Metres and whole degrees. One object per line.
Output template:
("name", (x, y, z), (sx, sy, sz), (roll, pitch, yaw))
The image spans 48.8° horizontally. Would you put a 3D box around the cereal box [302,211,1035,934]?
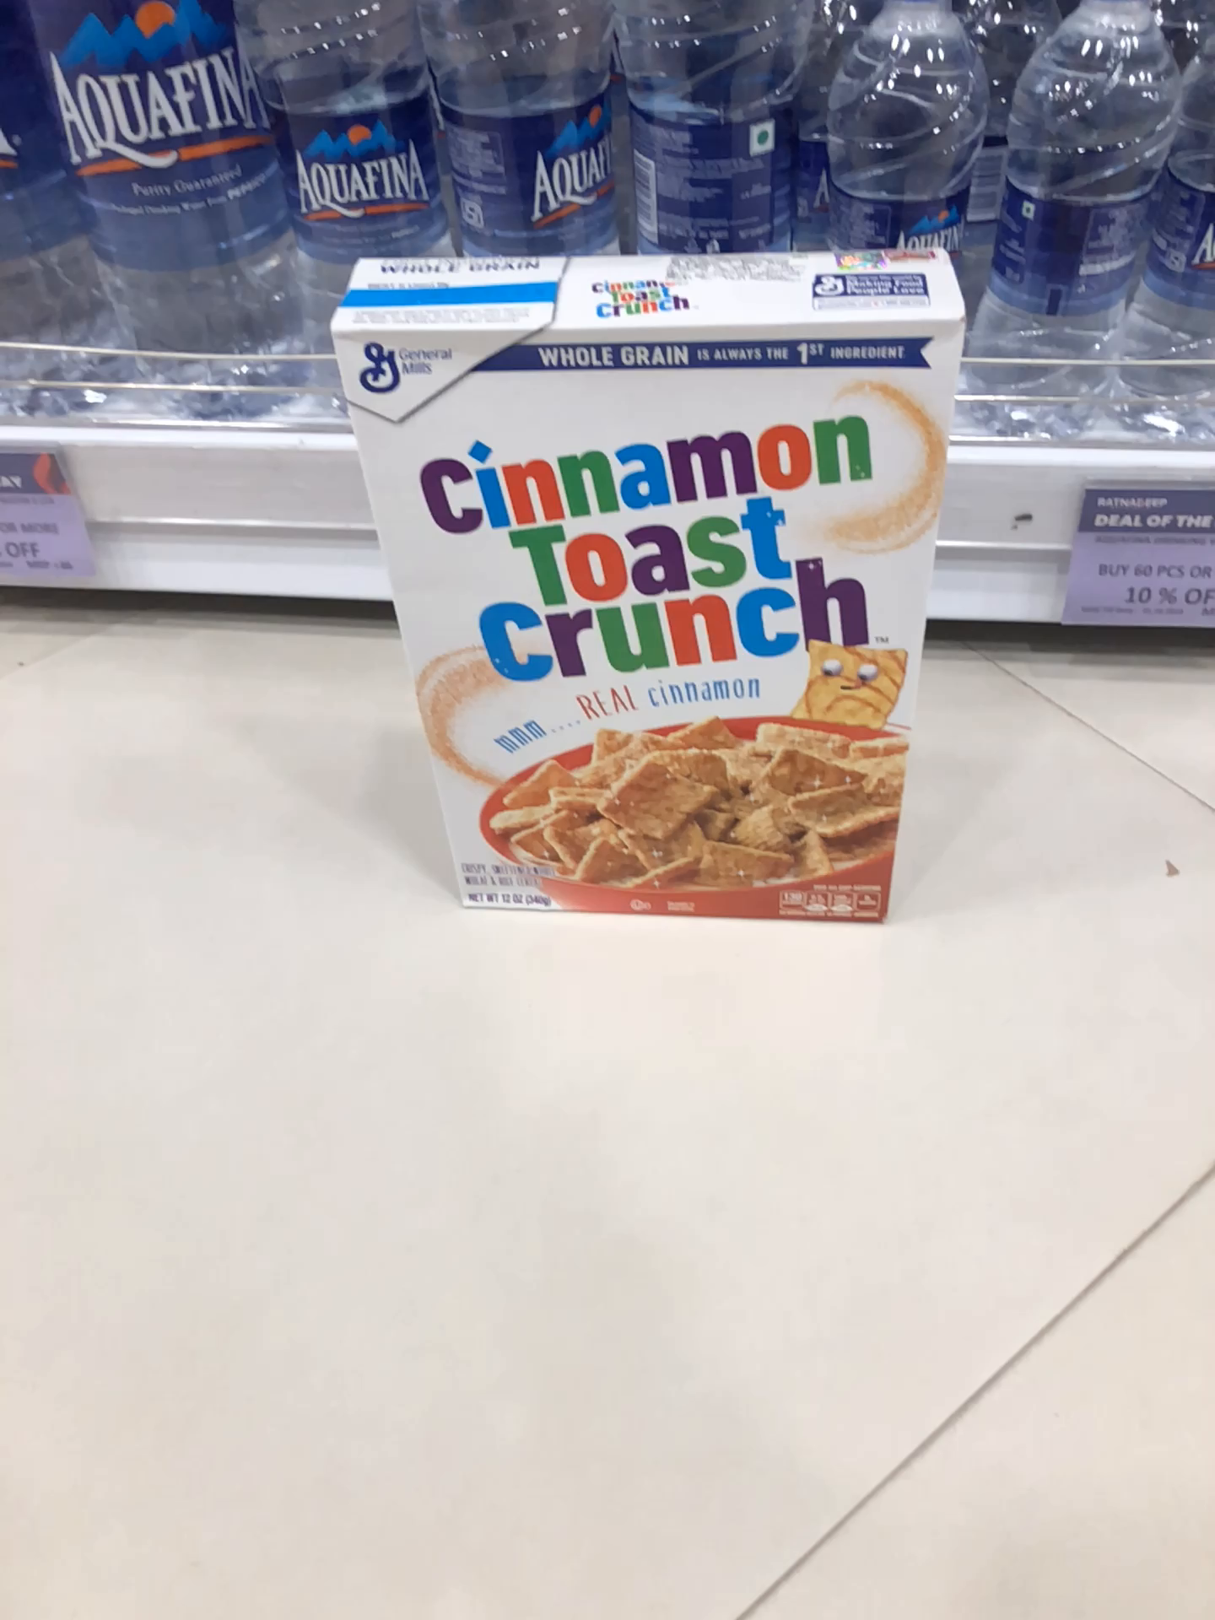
("cereal box", (0.025, -0.064, 0.490), (0.200, 0.278, 0.060), (1, 49, 6))
